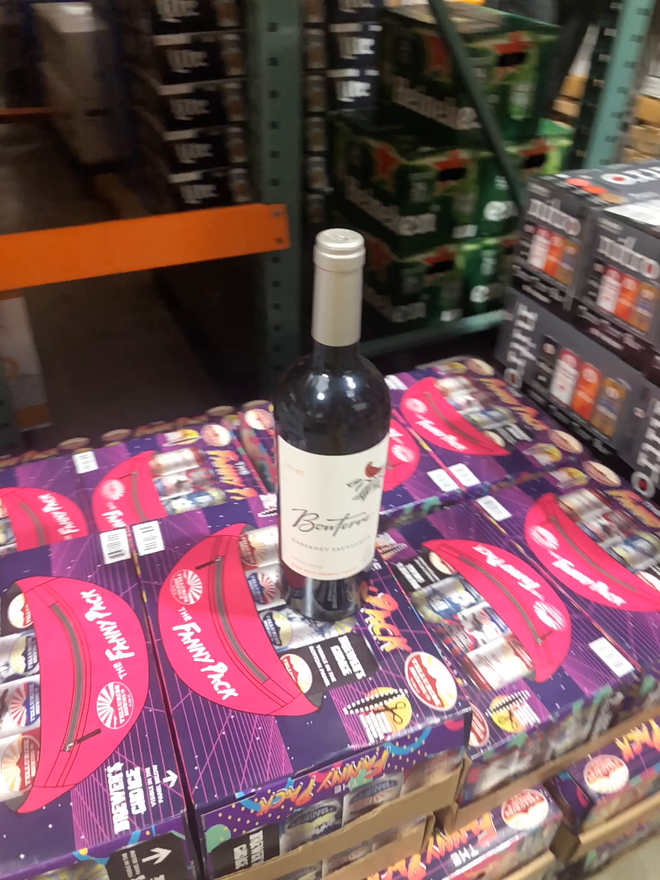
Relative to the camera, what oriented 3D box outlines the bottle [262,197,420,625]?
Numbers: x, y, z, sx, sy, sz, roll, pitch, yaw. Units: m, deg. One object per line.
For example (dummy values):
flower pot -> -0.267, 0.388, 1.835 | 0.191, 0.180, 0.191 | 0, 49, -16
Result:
bottle -> -0.001, -0.004, 0.501 | 0.080, 0.298, 0.080 | 1, 37, -1
